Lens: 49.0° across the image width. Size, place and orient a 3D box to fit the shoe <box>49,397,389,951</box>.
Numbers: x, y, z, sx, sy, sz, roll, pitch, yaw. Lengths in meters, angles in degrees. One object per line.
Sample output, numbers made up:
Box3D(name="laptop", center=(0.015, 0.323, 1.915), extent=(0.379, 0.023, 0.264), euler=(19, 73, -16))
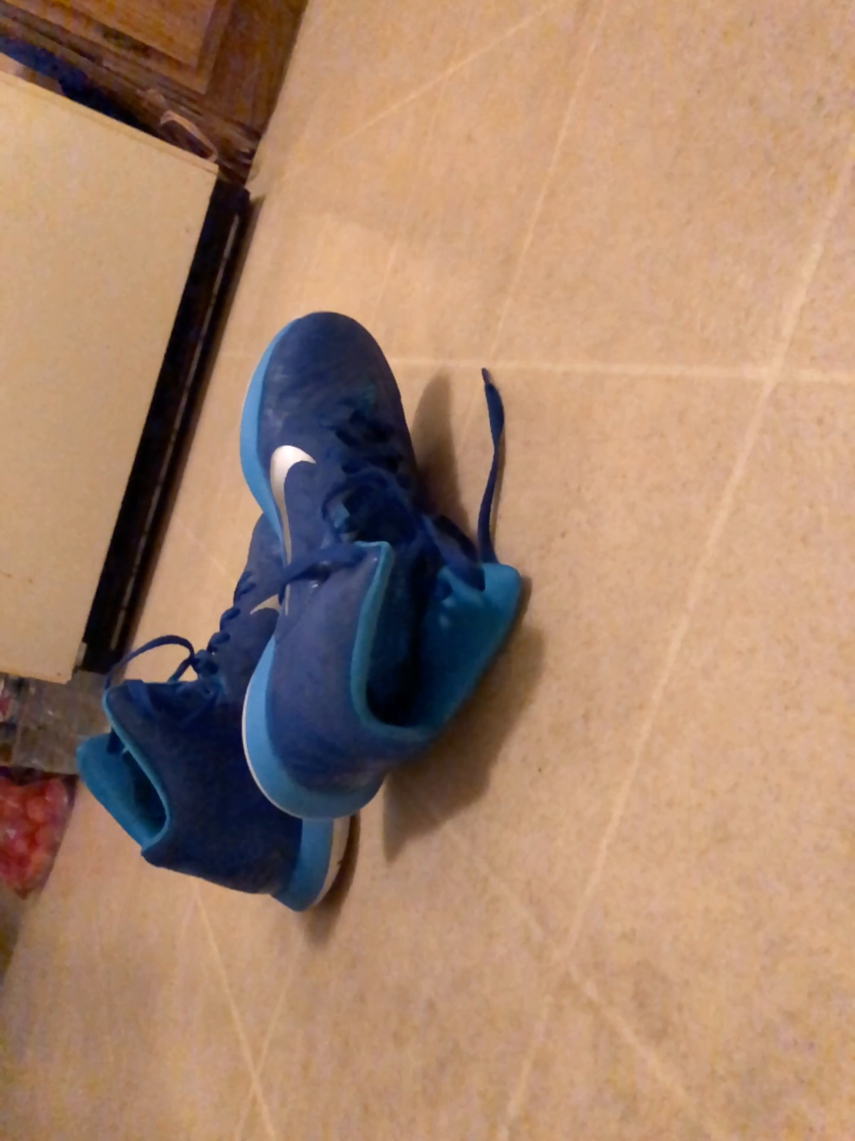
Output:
Box3D(name="shoe", center=(-0.126, 0.057, 0.594), extent=(0.120, 0.144, 0.311), euler=(-52, 33, 40))

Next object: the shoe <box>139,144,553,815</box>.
Box3D(name="shoe", center=(-0.041, -0.040, 0.485), extent=(0.160, 0.119, 0.282), euler=(-35, 46, 47))
